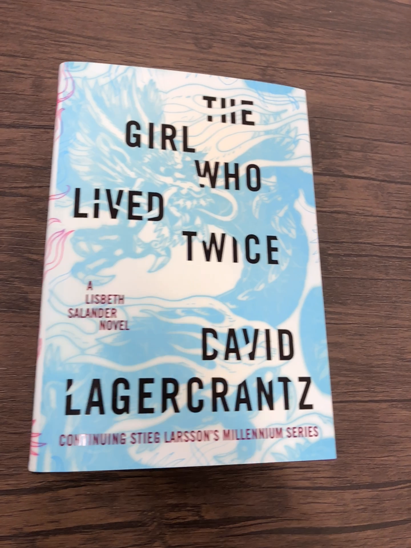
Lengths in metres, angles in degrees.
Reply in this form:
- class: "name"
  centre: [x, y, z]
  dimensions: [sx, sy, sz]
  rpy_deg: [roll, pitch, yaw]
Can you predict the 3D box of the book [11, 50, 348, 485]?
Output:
- class: "book"
  centre: [-0.012, -0.010, 0.279]
  dimensions: [0.170, 0.040, 0.240]
  rpy_deg: [2, 75, -11]
